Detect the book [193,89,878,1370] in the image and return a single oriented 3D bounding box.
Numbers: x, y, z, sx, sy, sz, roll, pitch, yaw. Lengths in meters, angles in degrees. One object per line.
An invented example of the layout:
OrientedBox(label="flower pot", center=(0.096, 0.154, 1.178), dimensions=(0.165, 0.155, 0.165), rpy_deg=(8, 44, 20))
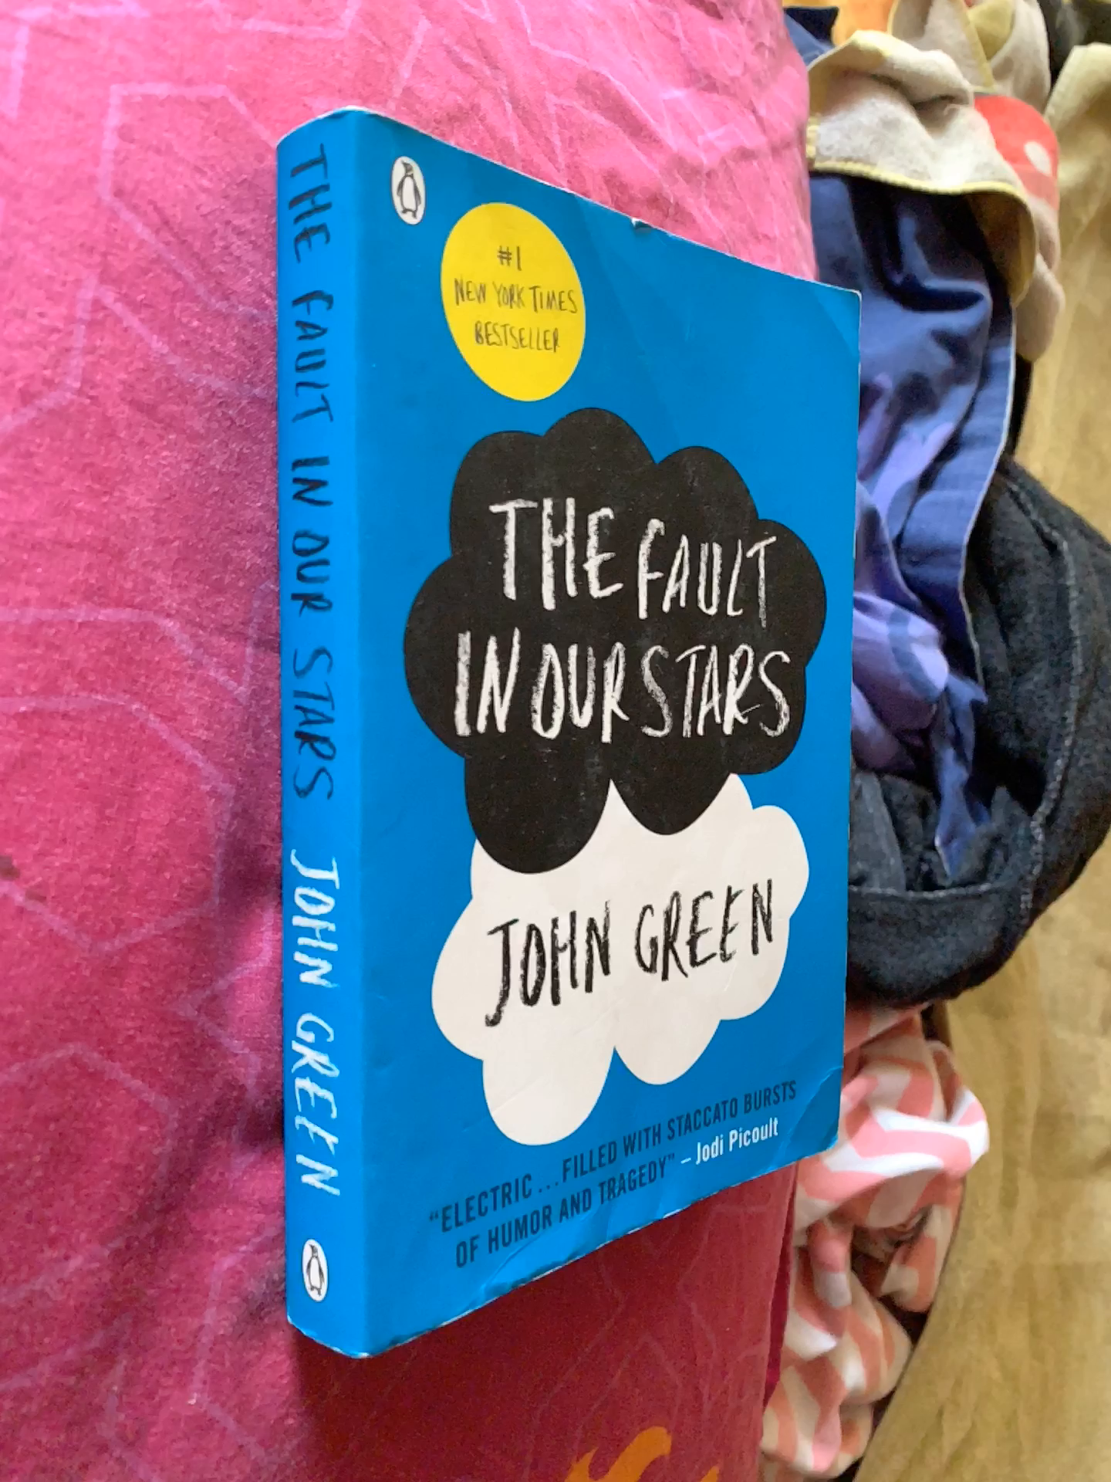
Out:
OrientedBox(label="book", center=(0.006, -0.004, 0.216), dimensions=(0.130, 0.030, 0.179), rpy_deg=(-3, 89, -42))
